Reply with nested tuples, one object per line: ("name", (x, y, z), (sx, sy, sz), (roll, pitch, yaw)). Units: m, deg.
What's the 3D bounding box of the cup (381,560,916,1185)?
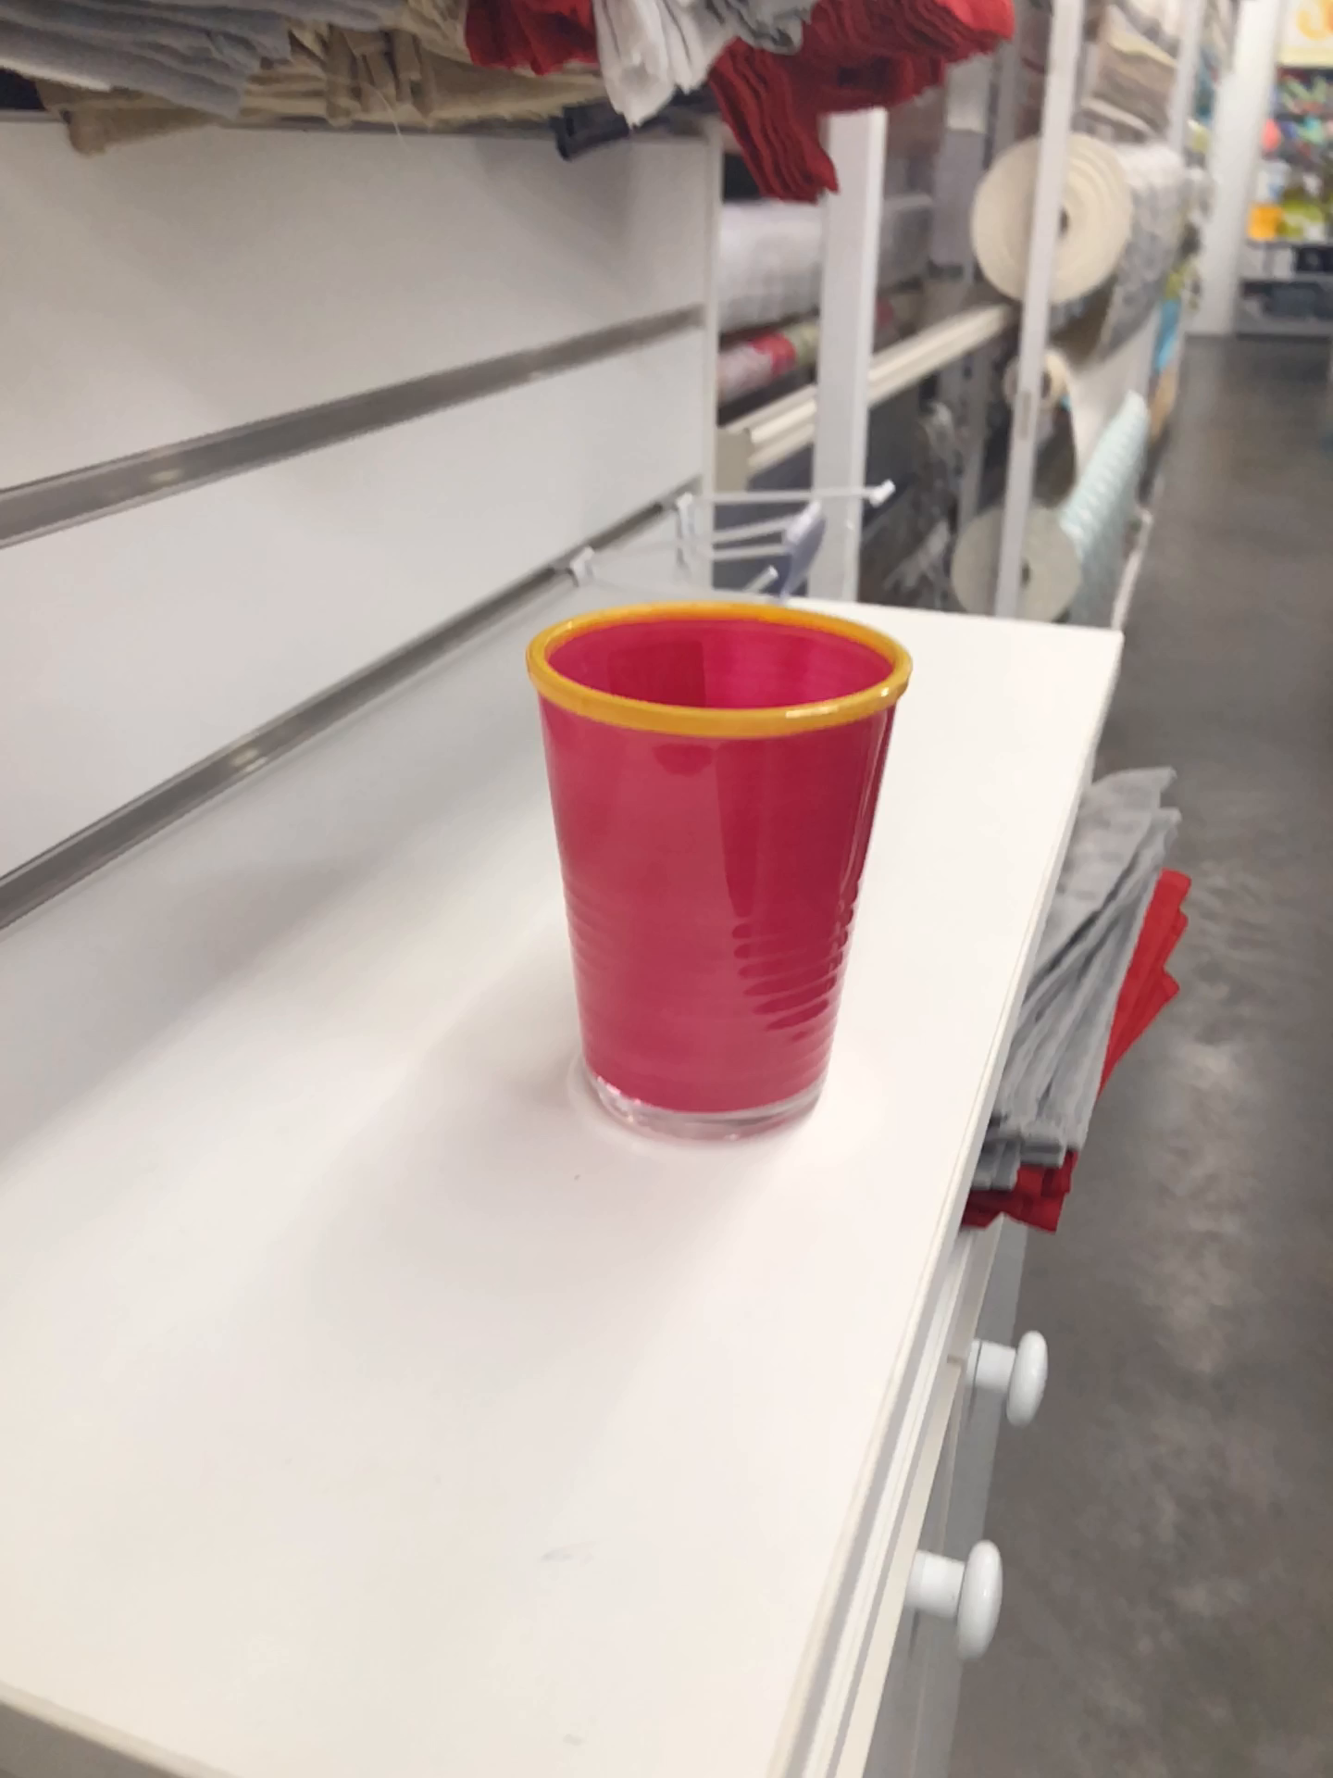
("cup", (-0.001, -0.009, 0.313), (0.079, 0.094, 0.085), (1, 26, -1))
